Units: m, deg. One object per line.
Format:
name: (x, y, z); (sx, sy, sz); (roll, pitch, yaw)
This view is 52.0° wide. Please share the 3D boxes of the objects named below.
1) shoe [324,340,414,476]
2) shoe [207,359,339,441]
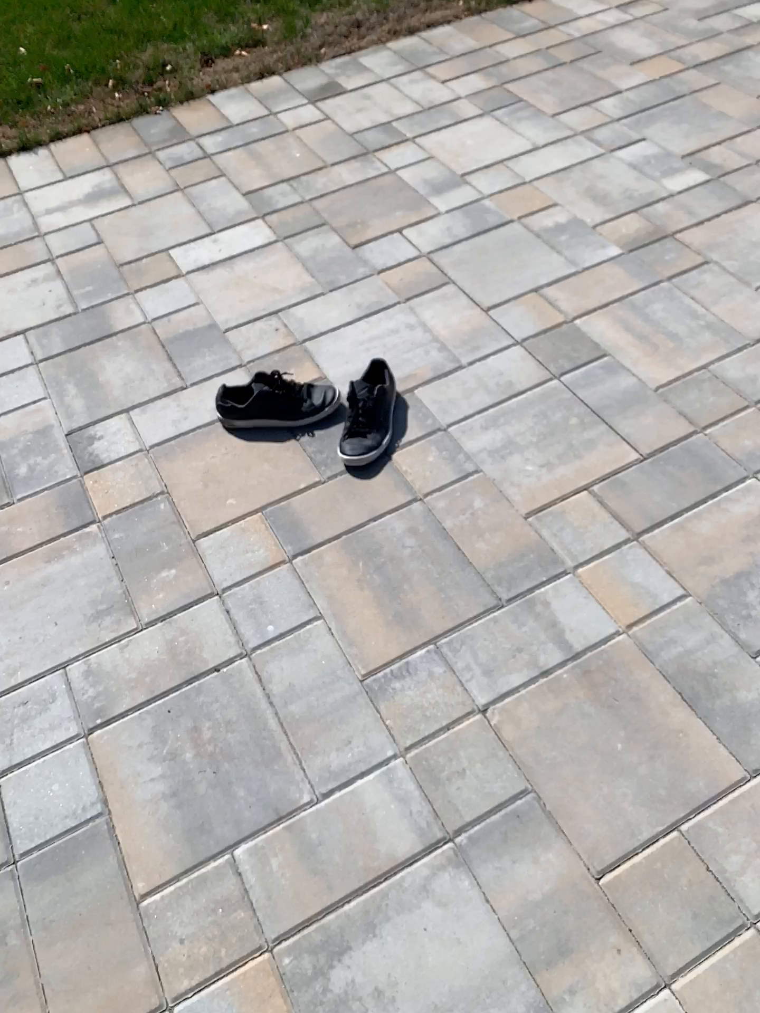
shoe: (-0.015, -0.204, 1.577); (0.110, 0.100, 0.281); (8, 51, 11)
shoe: (-0.217, -0.220, 1.617); (0.250, 0.110, 0.110); (-3, 50, 2)
